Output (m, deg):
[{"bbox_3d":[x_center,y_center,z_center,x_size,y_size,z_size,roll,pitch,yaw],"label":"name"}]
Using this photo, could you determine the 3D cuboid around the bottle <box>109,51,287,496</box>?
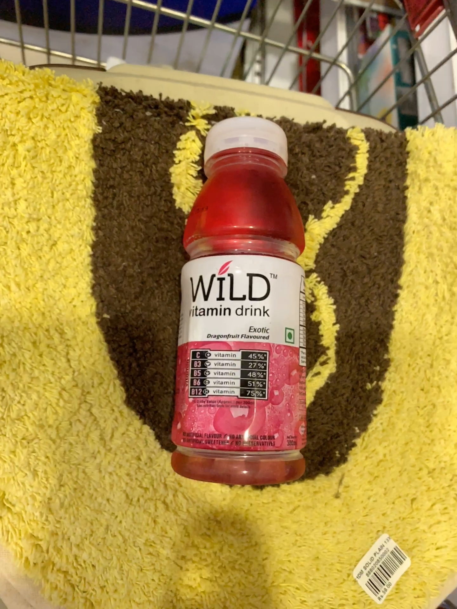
[{"bbox_3d":[-0.006,-0.014,0.203,0.060,0.050,0.170,0,77,8],"label":"bottle"}]
